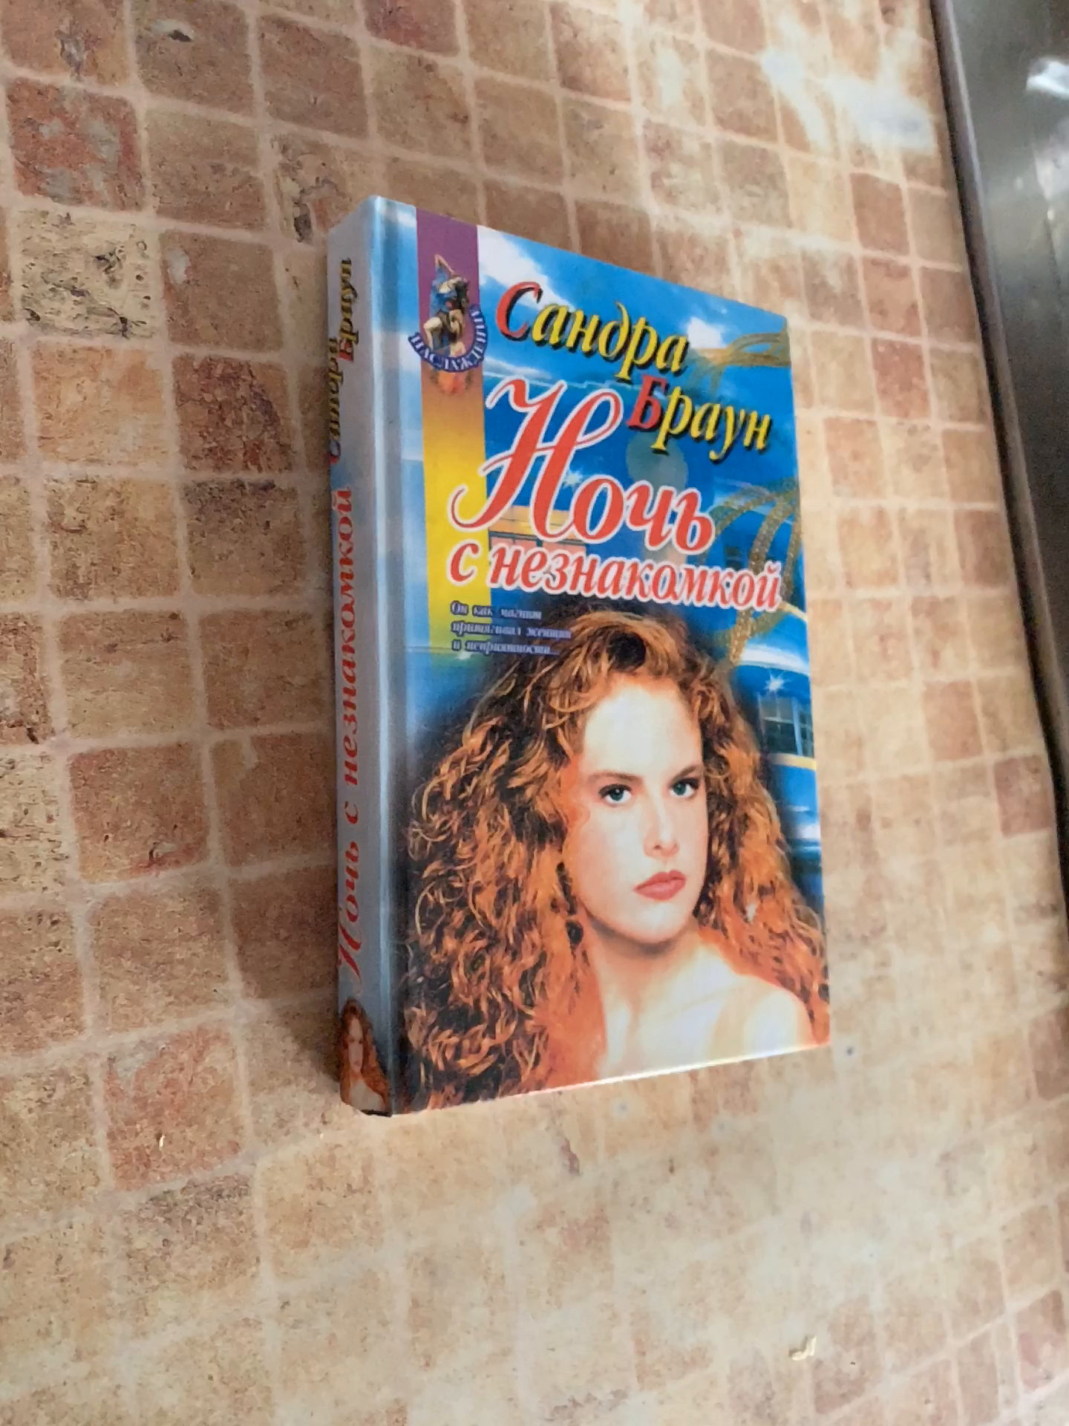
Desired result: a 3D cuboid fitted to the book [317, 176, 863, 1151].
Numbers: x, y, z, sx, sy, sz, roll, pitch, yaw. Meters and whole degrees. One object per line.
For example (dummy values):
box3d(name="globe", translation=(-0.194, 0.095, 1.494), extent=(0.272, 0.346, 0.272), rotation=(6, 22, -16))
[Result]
box3d(name="book", translation=(0.016, -0.012, 0.269), extent=(0.131, 0.029, 0.197), rotation=(2, 82, -32))
